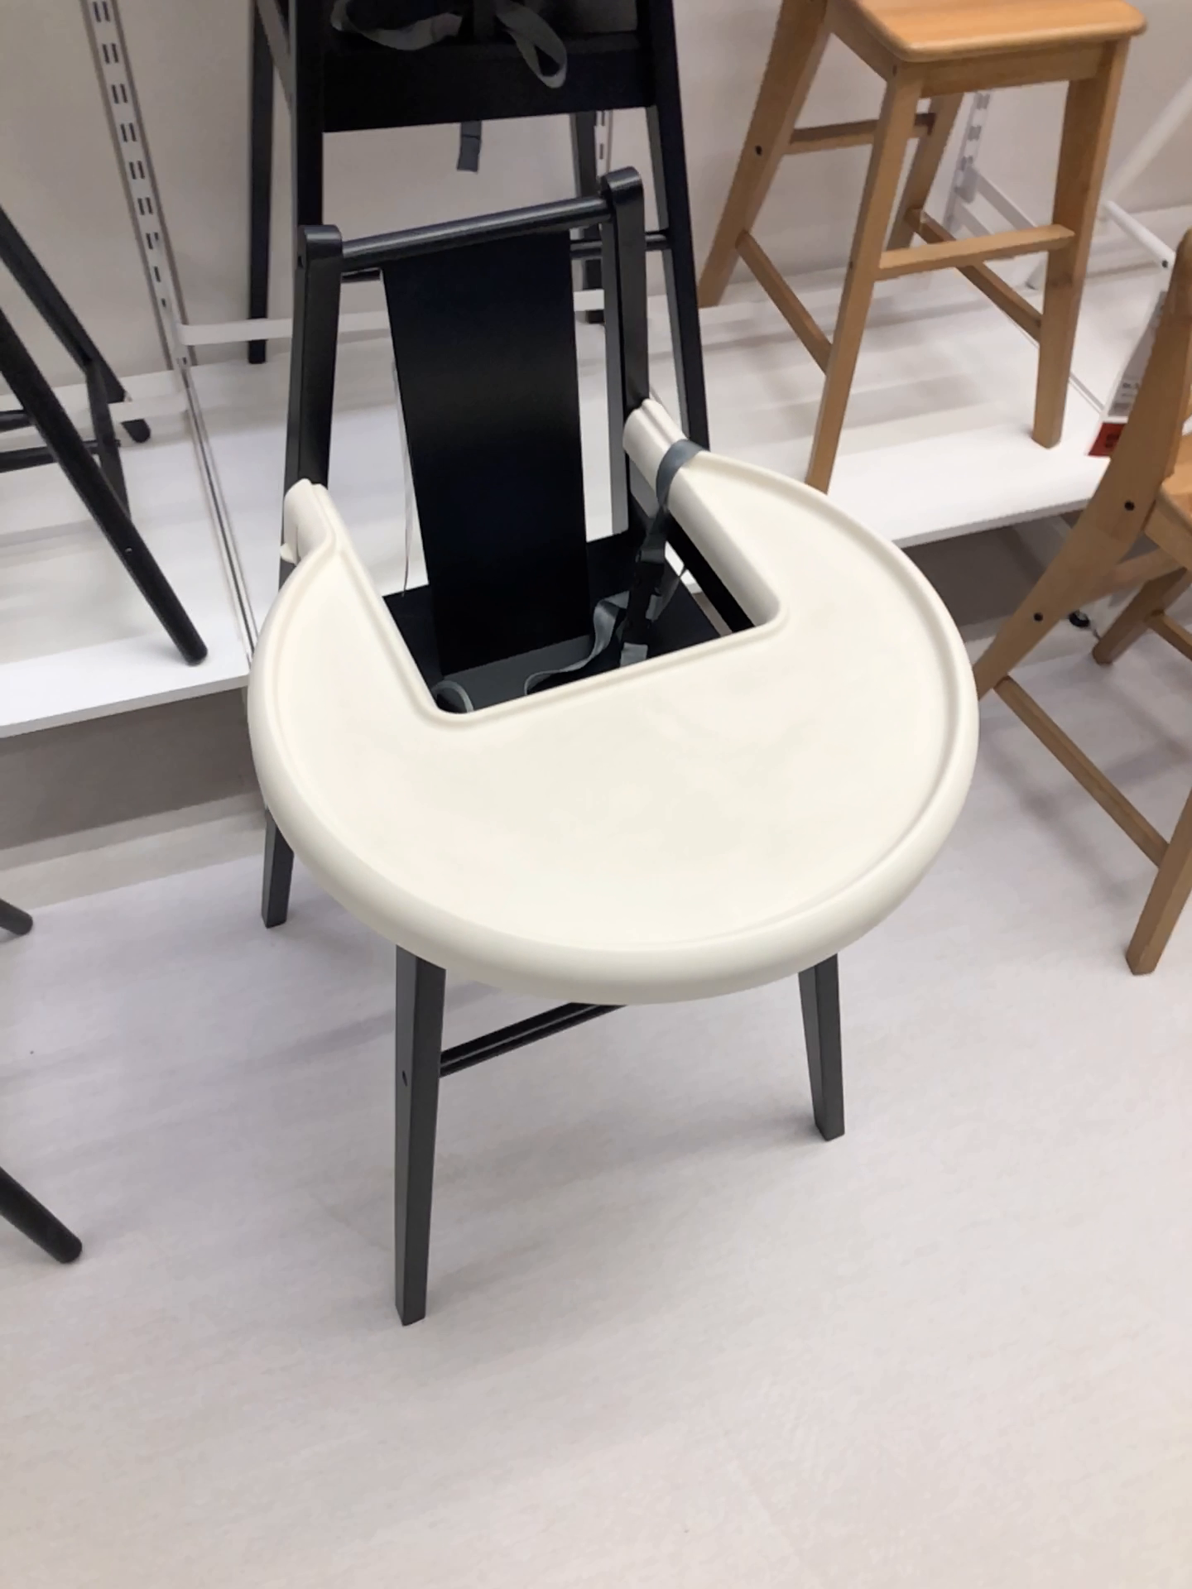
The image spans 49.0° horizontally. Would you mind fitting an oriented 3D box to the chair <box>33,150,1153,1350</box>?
[{"bbox_3d":[-0.051,-0.007,1.144,0.551,0.775,0.553,-17,54,-16],"label":"chair"}]
